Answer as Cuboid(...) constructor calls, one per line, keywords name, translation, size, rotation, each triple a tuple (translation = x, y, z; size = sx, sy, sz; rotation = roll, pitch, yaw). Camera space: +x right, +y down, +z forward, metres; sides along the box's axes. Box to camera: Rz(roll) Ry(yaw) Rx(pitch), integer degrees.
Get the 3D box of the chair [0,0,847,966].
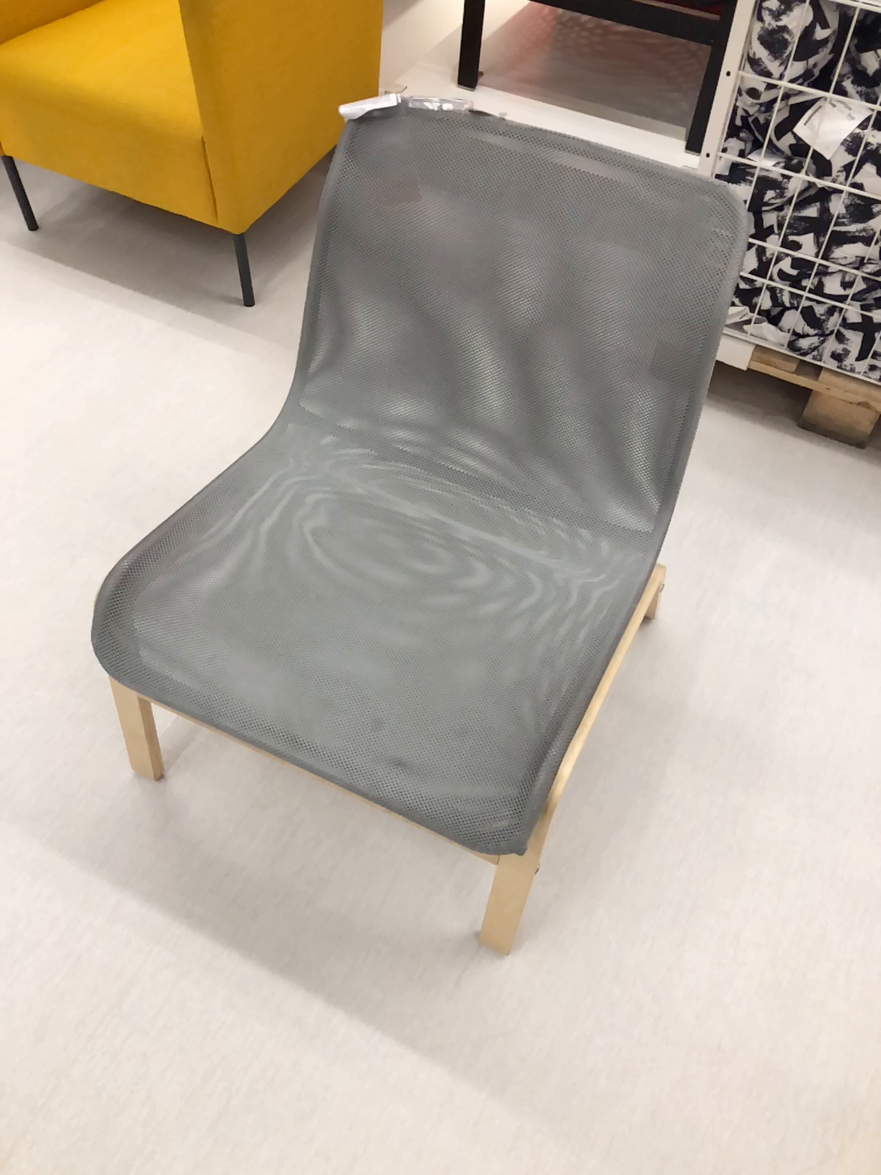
Cuboid(name="chair", translation=(-0.036, -0.105, 1.172), size=(0.631, 0.825, 0.643), rotation=(22, 55, 15))
